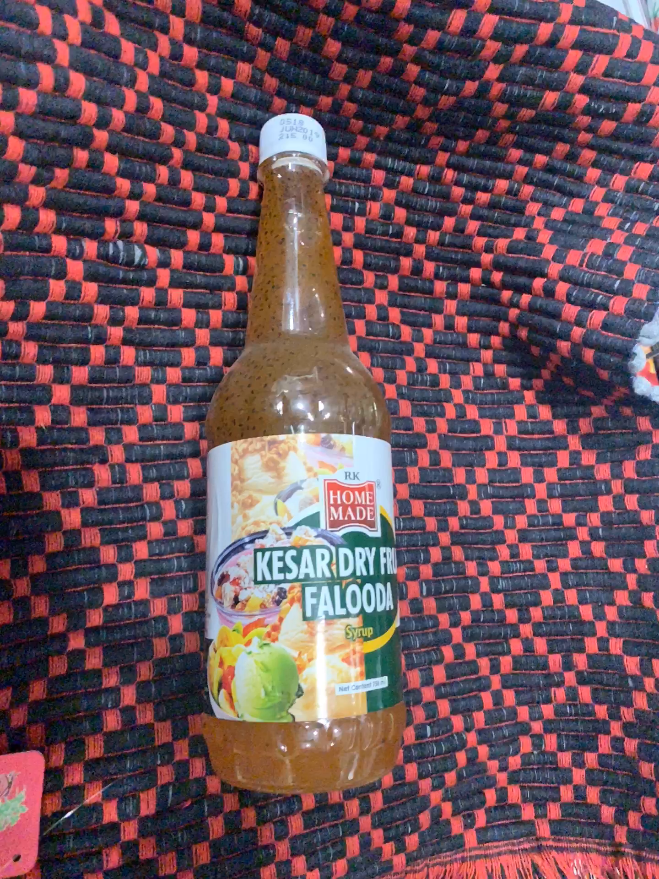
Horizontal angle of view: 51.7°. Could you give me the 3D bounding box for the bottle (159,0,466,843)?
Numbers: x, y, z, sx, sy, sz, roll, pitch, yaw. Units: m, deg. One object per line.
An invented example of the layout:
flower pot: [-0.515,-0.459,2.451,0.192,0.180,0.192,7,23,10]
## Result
bottle: [-0.013,-0.014,0.250,0.080,0.070,0.260,3,78,-26]
